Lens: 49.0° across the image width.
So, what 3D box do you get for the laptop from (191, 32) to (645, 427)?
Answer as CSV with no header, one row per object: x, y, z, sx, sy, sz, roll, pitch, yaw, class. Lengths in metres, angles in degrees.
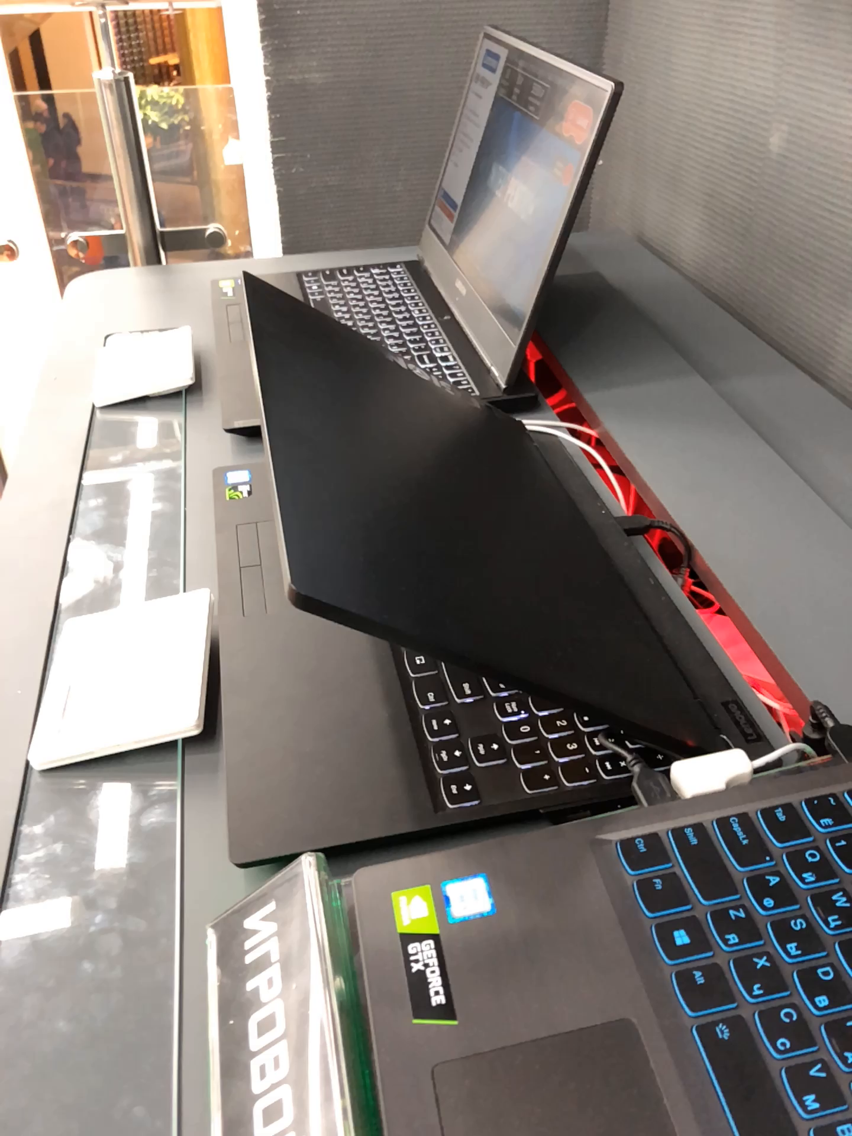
-0.039,-0.327,0.851,0.307,0.231,0.366,-7,35,-7,laptop

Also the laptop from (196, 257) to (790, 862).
-0.004,-0.043,0.528,0.227,0.136,0.355,-8,36,-8,laptop
